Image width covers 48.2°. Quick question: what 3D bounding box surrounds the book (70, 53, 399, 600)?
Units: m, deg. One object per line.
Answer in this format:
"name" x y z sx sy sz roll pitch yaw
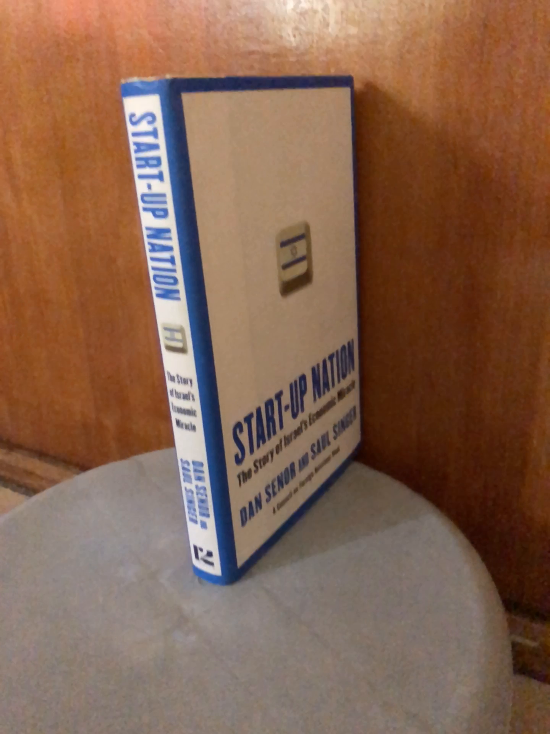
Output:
"book" 0.005 -0.034 0.334 0.040 0.229 0.201 10 24 35
